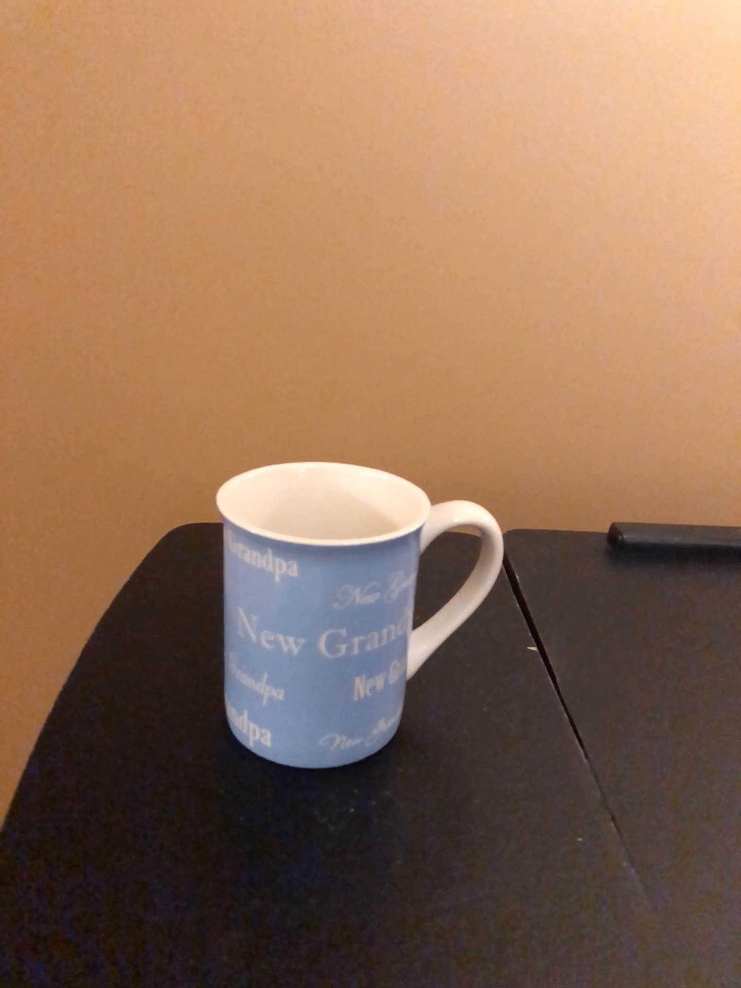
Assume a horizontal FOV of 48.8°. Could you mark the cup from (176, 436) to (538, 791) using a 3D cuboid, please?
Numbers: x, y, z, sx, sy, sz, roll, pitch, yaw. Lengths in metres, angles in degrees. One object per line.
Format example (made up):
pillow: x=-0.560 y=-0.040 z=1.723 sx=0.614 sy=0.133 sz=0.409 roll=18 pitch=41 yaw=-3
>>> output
cup: x=-0.013 y=0.044 z=0.376 sx=0.130 sy=0.110 sz=0.100 roll=-5 pitch=23 yaw=-23
